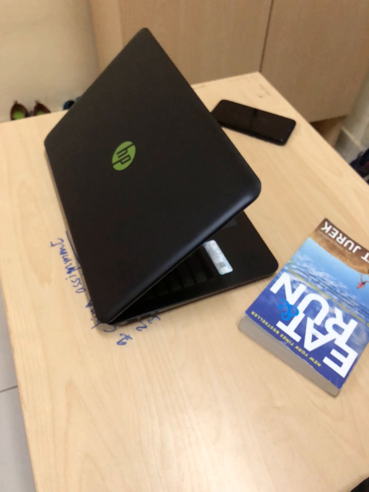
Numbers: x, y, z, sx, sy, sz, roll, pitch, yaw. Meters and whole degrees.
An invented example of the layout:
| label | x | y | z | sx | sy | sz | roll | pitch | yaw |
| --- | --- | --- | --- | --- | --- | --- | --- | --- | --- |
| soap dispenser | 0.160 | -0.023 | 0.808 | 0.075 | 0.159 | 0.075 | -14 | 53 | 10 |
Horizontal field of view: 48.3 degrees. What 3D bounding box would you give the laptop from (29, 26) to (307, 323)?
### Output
| label | x | y | z | sx | sy | sz | roll | pitch | yaw |
| --- | --- | --- | --- | --- | --- | --- | --- | --- | --- |
| laptop | -0.046 | -0.124 | 0.574 | 0.231 | 0.167 | 0.360 | -17 | 55 | -16 |
